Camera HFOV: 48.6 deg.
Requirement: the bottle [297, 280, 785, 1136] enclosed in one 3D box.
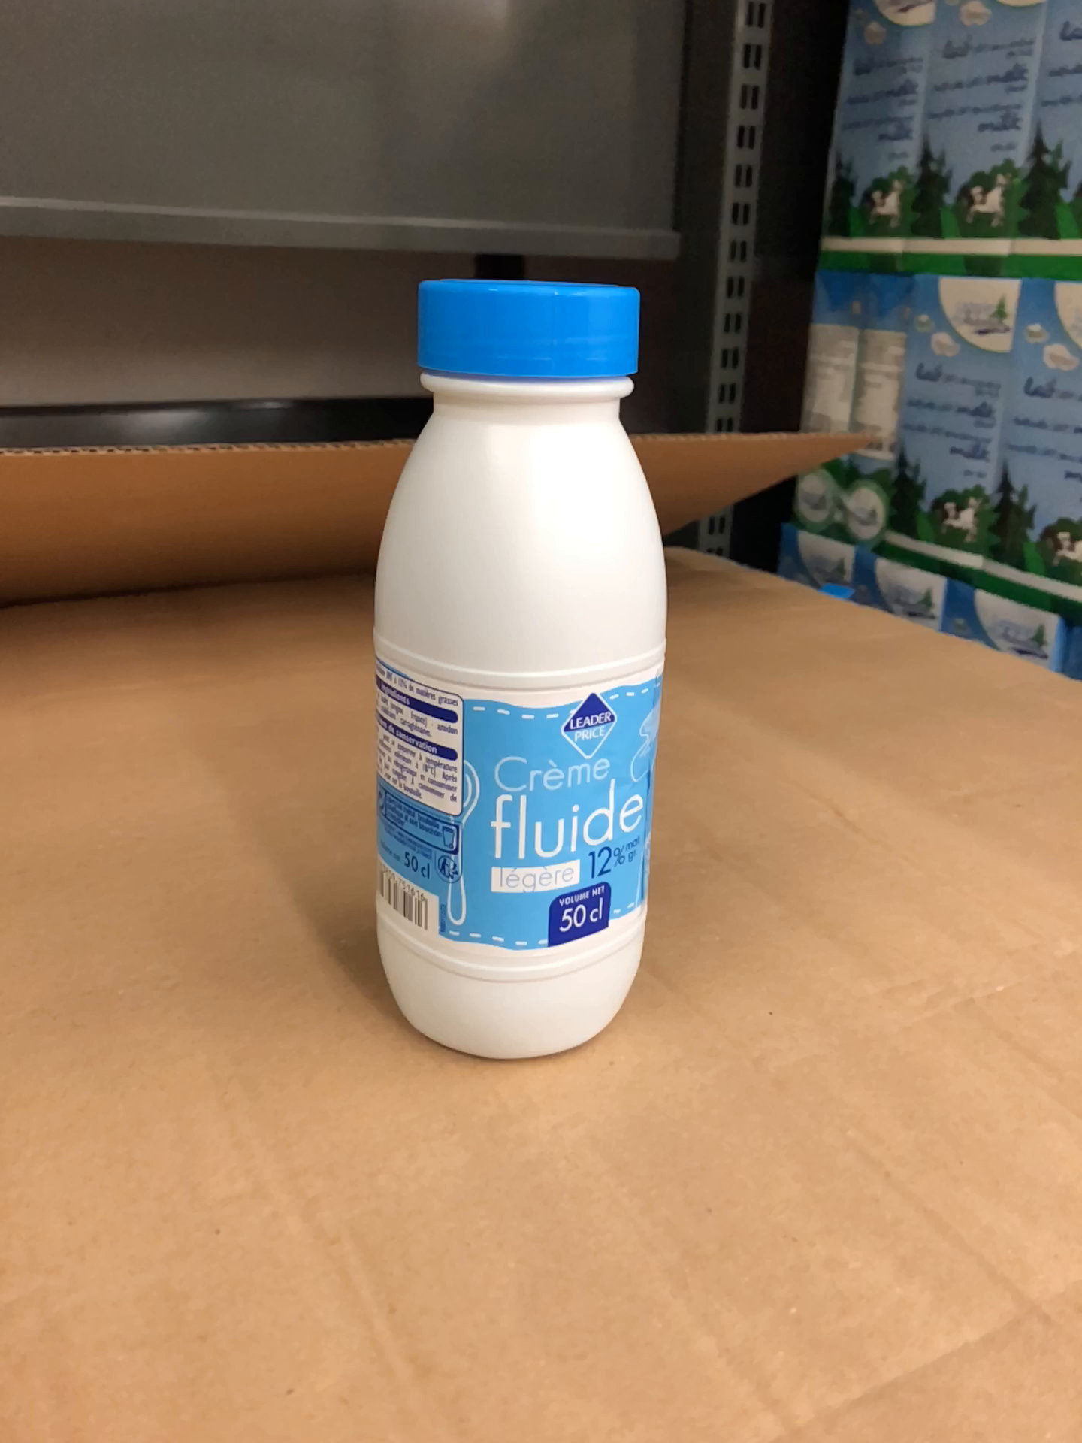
[{"bbox_3d":[-0.005,-0.010,0.305,0.080,0.189,0.080,2,20,-1],"label":"bottle"}]
